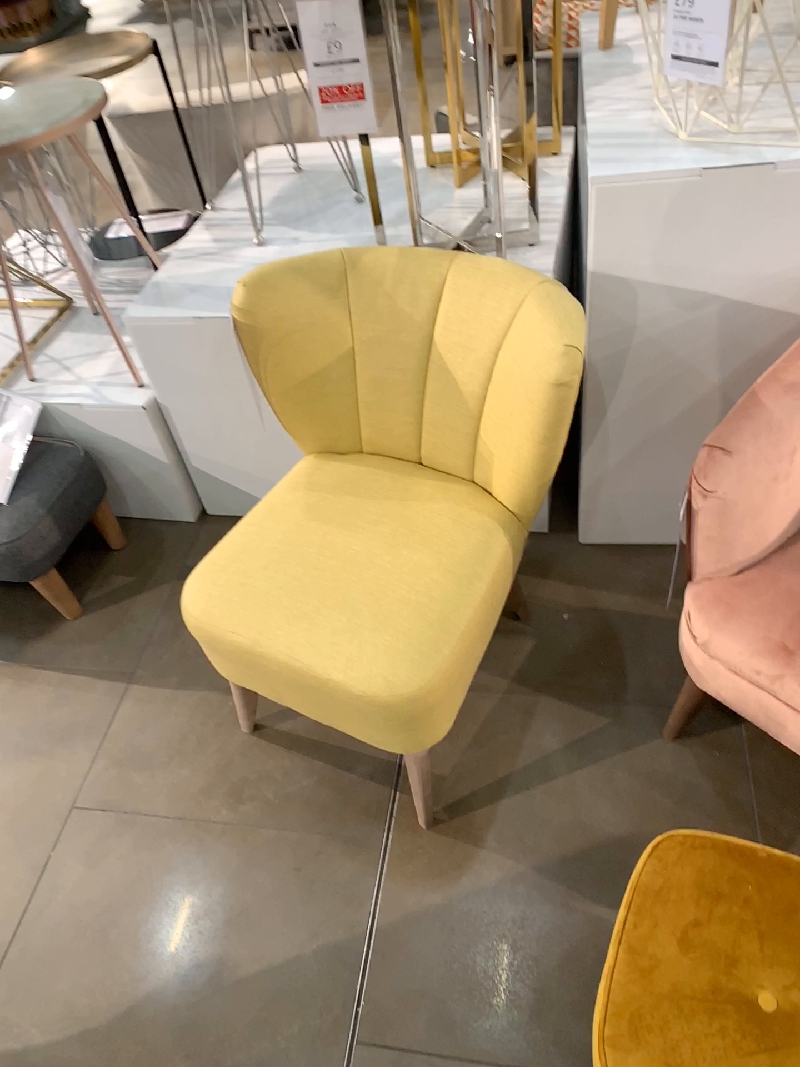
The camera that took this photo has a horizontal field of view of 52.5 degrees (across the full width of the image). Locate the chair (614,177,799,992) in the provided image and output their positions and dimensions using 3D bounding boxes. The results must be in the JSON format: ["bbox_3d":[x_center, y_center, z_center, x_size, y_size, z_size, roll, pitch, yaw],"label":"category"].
[{"bbox_3d":[0.748,0.051,1.141,0.620,0.765,0.588,31,58,35],"label":"chair"}]

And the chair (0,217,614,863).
[{"bbox_3d":[-0.068,-0.015,1.323,0.609,0.696,0.589,19,52,28],"label":"chair"}]
